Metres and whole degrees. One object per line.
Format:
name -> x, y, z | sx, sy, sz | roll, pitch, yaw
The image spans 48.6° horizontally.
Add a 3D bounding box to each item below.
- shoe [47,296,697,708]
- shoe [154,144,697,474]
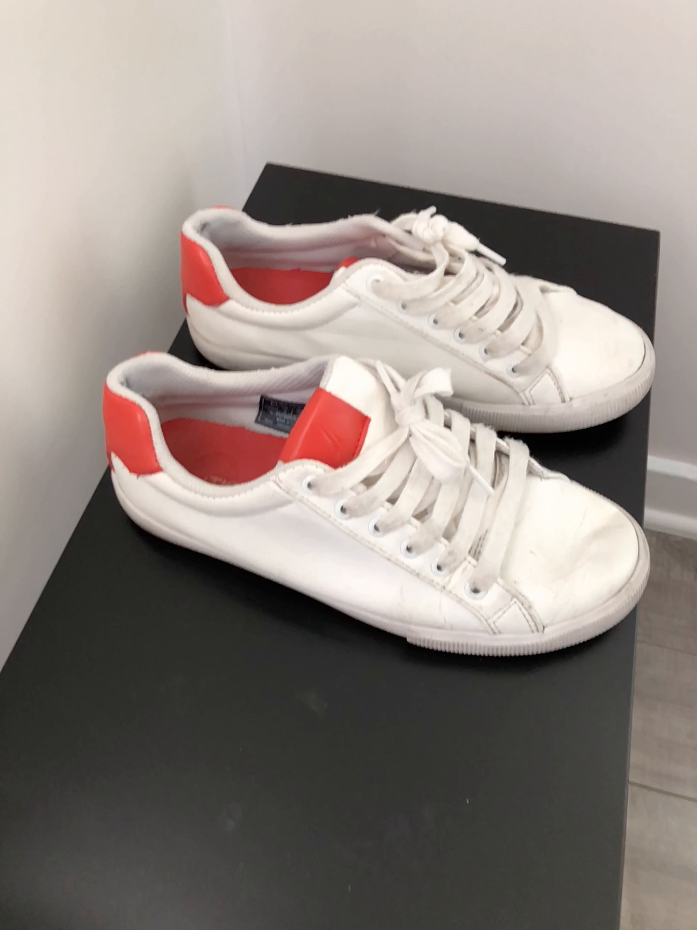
shoe -> 0.020, 0.013, 0.316 | 0.235, 0.080, 0.102 | 10, 56, 5
shoe -> 0.038, -0.078, 0.381 | 0.230, 0.080, 0.100 | 10, 56, 5
